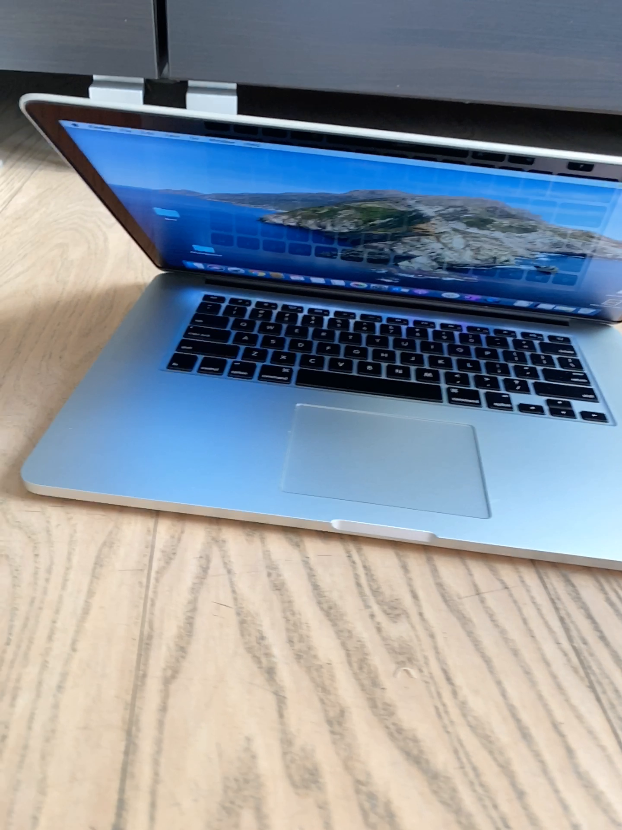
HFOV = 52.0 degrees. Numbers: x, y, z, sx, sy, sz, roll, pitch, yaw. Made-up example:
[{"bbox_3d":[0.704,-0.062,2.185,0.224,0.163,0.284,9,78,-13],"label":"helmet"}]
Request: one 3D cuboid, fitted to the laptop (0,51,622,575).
[{"bbox_3d":[0.053,-0.079,0.362,0.361,0.157,0.237,7,37,1],"label":"laptop"}]
